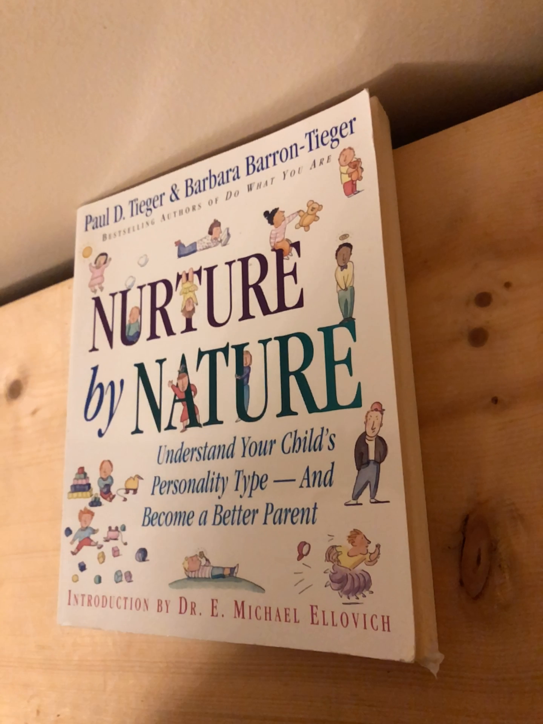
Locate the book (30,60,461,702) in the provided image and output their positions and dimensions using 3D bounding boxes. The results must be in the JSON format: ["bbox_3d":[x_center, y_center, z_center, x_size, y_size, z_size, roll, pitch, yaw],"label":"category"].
[{"bbox_3d":[-0.025,0.009,0.296,0.201,0.040,0.250,-9,74,30],"label":"book"}]
